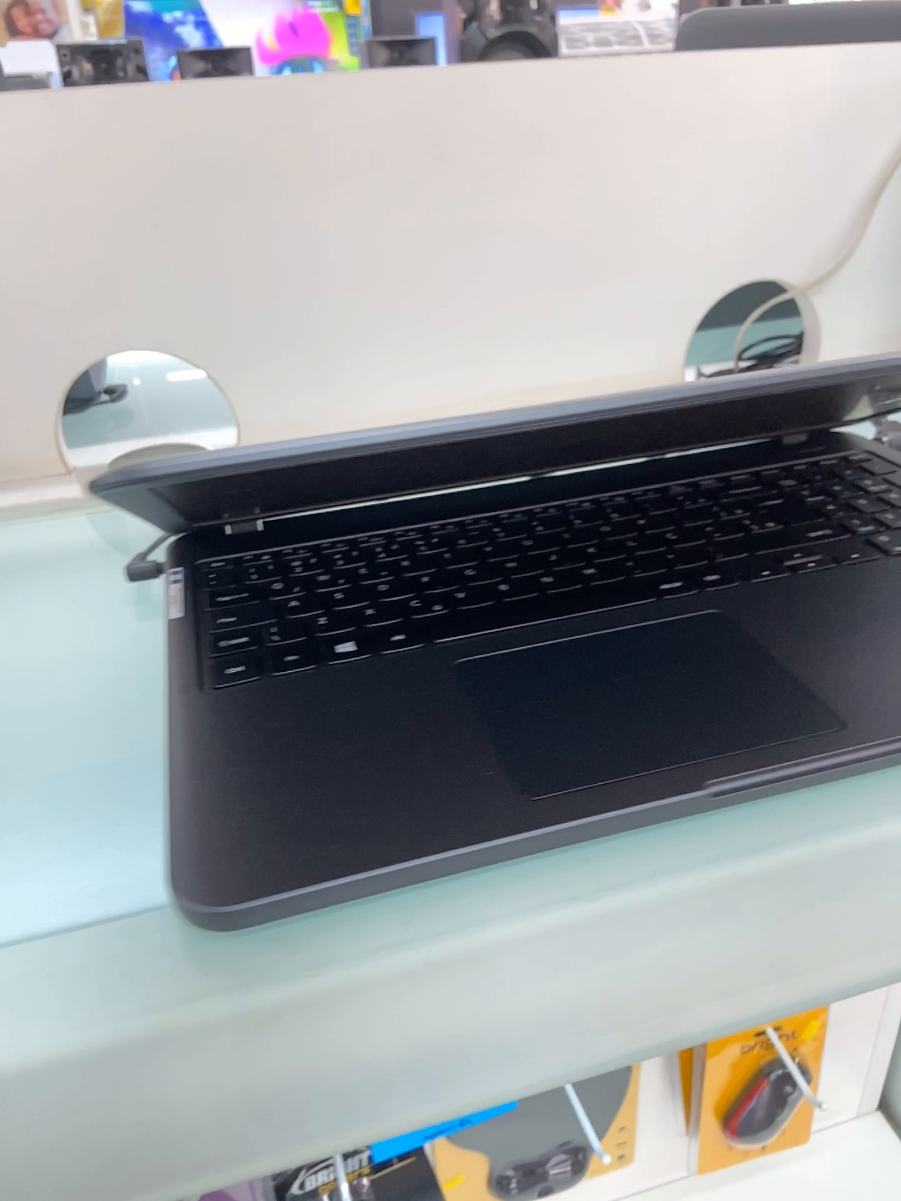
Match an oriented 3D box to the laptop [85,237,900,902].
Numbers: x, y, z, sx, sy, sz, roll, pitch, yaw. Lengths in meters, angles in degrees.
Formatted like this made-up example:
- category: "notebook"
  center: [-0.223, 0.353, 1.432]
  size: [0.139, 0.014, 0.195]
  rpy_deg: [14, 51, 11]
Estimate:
- category: "laptop"
  center: [0.077, -0.054, 0.359]
  size: [0.376, 0.101, 0.234]
  rpy_deg: [-10, 30, -13]
